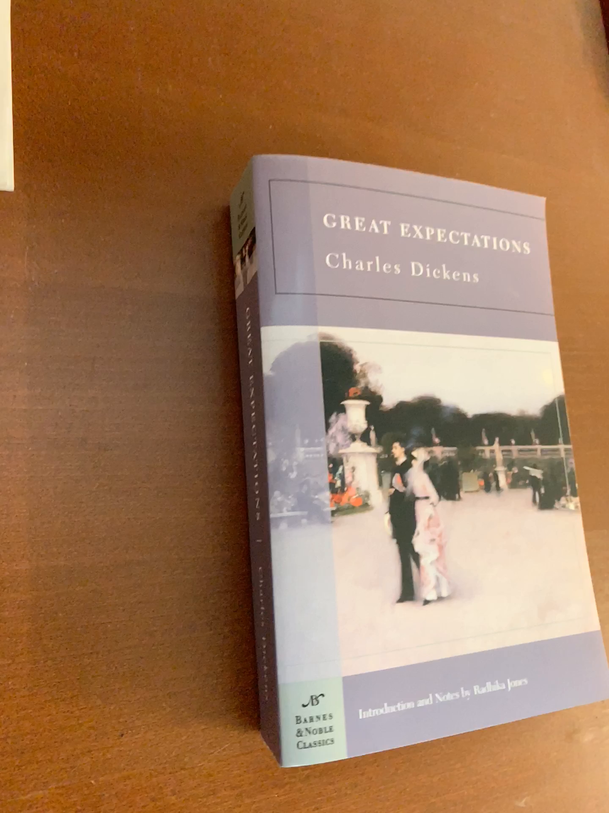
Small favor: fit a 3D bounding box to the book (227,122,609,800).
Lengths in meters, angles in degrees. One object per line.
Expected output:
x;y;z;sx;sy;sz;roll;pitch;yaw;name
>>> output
0.049;0.011;0.235;0.140;0.040;0.200;0;81;-25;book
